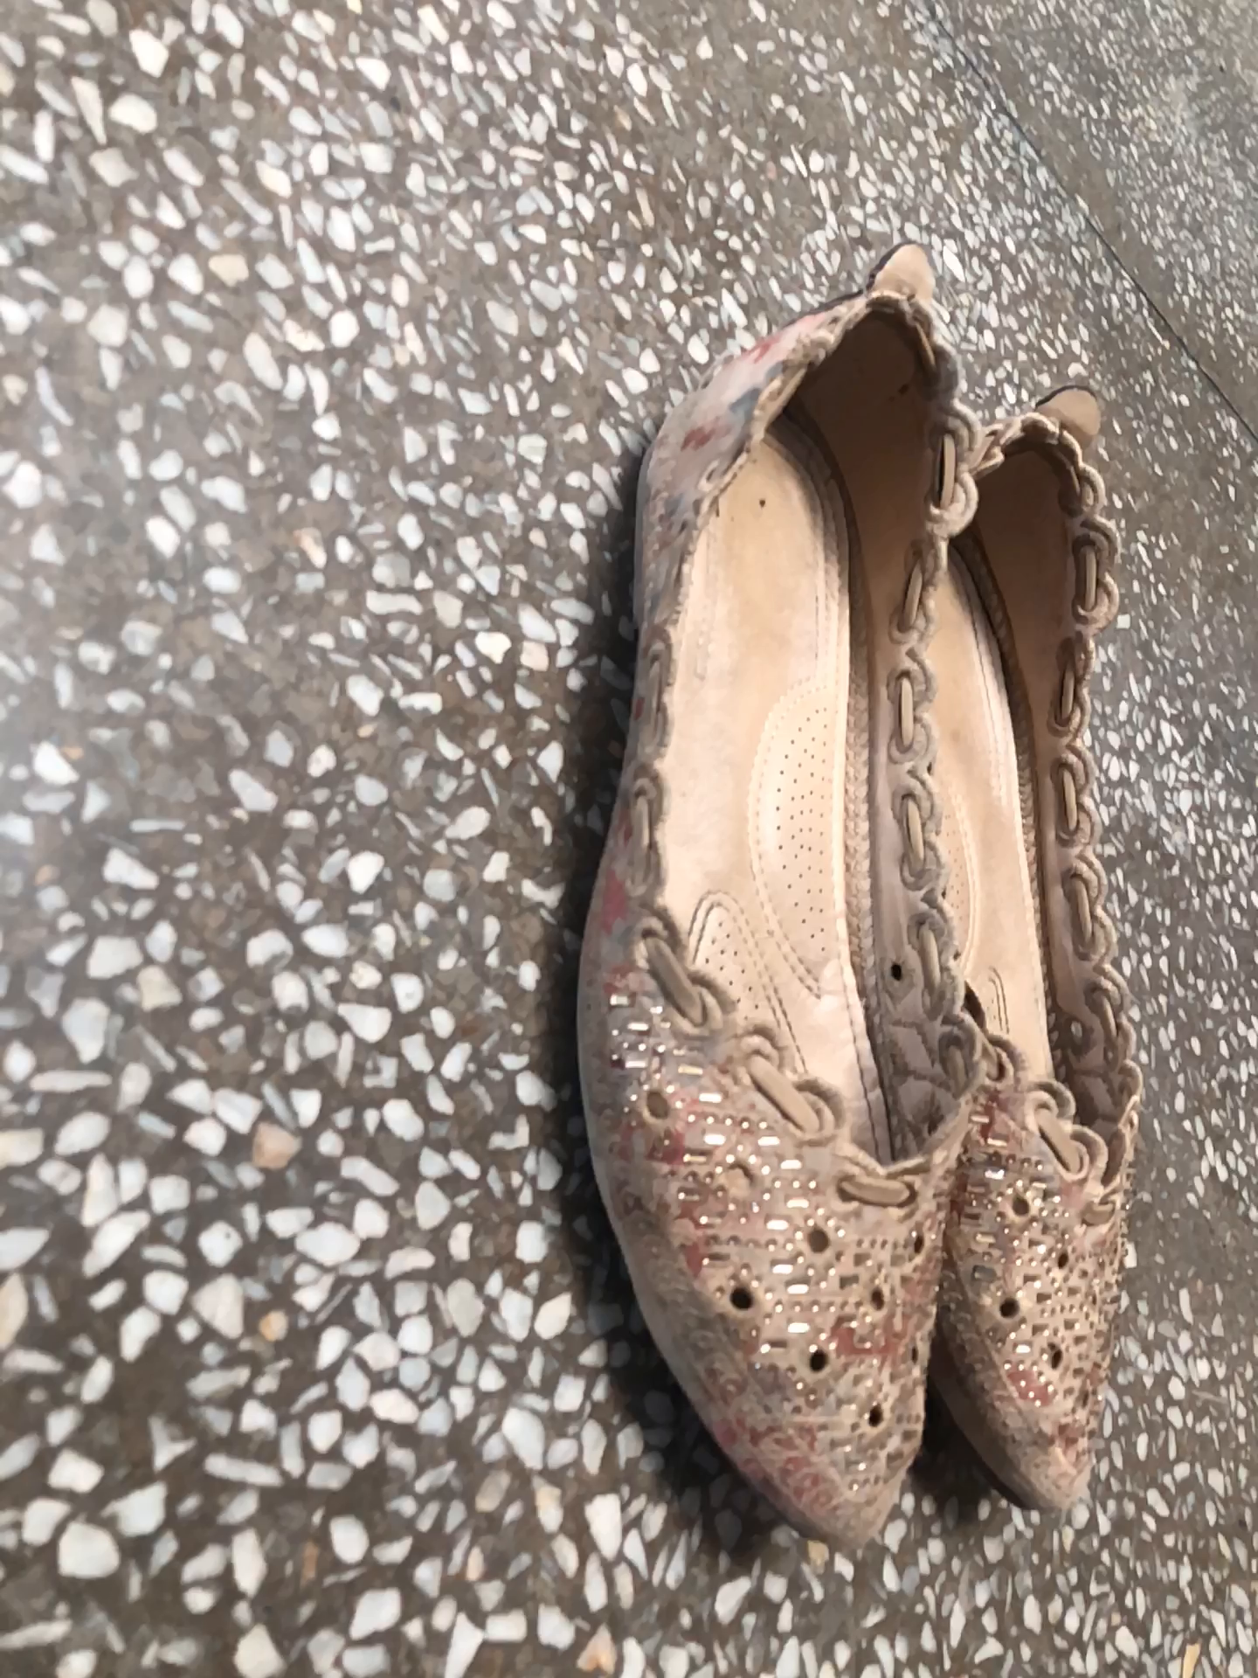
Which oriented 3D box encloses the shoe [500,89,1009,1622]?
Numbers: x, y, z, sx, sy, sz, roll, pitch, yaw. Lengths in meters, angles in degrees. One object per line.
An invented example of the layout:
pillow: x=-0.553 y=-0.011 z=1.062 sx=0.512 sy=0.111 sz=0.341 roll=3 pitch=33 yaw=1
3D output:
shoe: x=0.023 y=-0.007 z=0.287 sx=0.090 sy=0.040 sz=0.280 roll=16 pitch=65 yaw=-42

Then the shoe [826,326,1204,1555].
shoe: x=0.093 y=0.019 z=0.346 sx=0.090 sy=0.040 sz=0.270 roll=16 pitch=69 yaw=-42
